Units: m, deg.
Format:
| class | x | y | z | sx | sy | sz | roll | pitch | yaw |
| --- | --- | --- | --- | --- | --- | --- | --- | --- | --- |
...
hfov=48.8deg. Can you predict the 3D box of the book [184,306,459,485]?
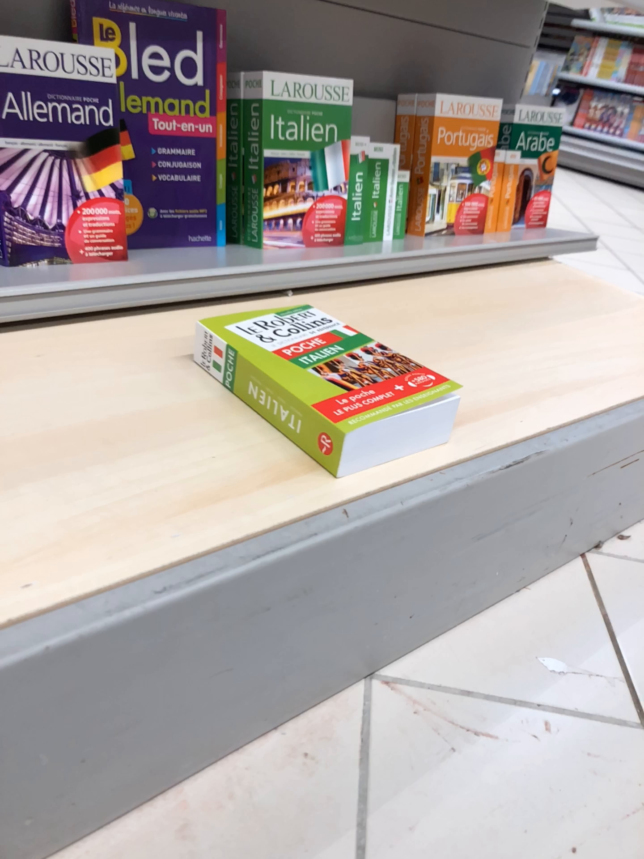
| class | x | y | z | sx | sy | sz | roll | pitch | yaw |
| --- | --- | --- | --- | --- | --- | --- | --- | --- | --- |
| book | -0.006 | -0.035 | 0.516 | 0.111 | 0.040 | 0.175 | -15 | 38 | -39 |
